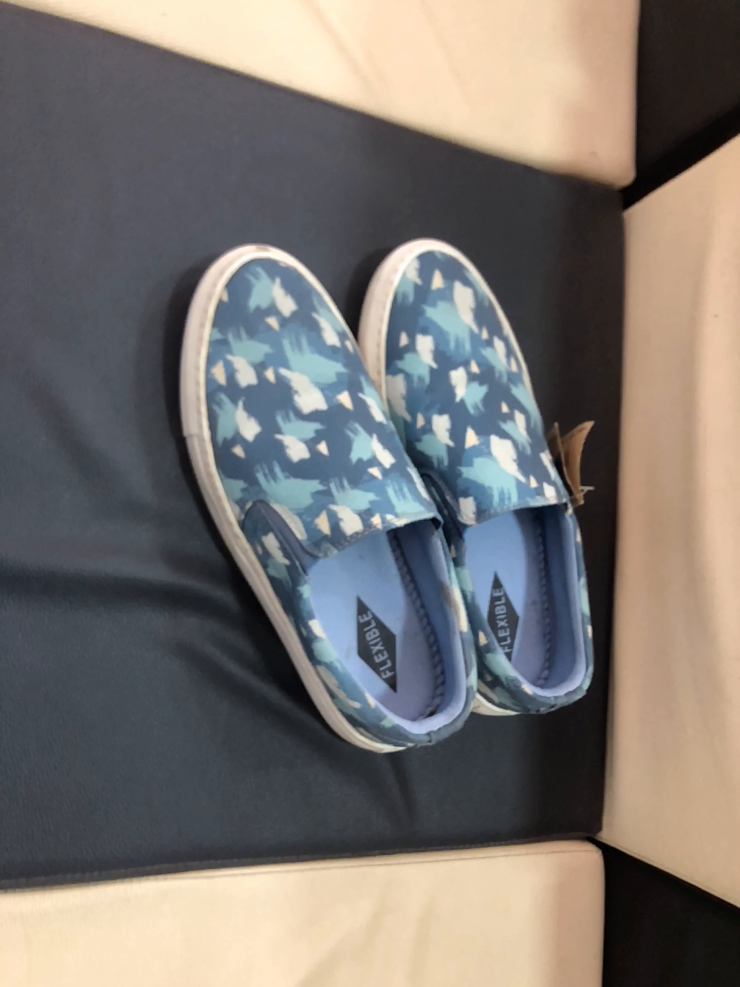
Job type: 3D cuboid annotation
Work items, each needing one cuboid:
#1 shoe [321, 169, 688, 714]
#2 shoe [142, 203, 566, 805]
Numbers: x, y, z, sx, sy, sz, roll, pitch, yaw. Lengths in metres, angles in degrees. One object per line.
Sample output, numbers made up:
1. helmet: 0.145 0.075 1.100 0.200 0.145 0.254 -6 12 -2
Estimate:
1. shoe: 0.079 -0.030 0.480 0.110 0.060 0.280 -22 95 -23
2. shoe: -0.011 0.004 0.458 0.120 0.090 0.280 -22 95 -23
